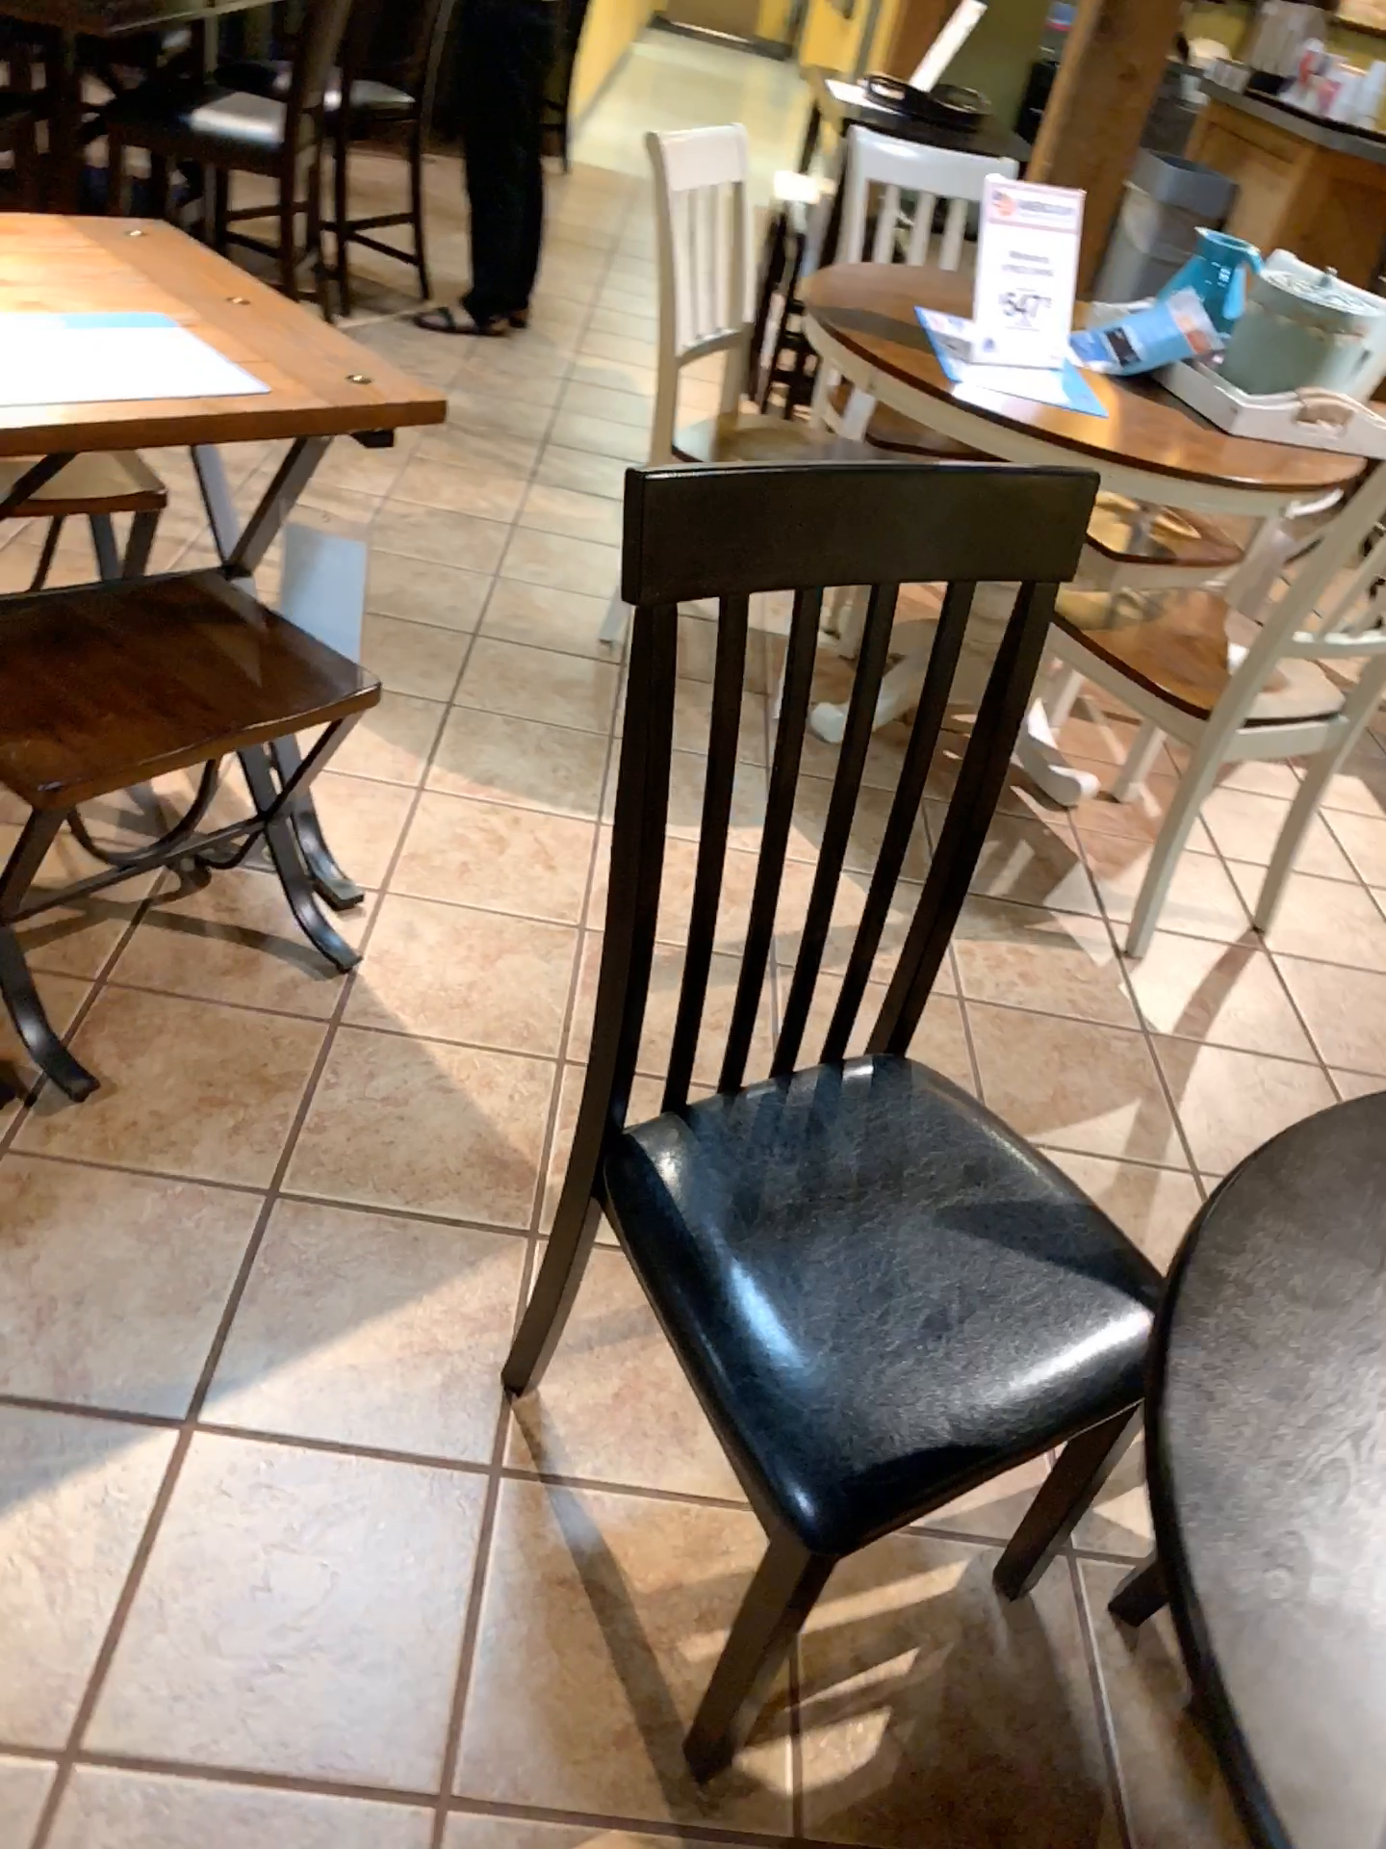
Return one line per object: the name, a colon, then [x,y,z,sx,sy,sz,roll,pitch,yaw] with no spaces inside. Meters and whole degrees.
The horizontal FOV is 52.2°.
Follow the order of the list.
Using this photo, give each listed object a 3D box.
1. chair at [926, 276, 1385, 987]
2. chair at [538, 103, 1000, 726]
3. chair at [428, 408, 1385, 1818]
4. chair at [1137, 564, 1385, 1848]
chair: [0.841,-0.452,2.239,0.465,0.893,0.543,-9,42,-30]
chair: [0.115,-0.935,2.619,0.541,0.903,0.416,24,36,13]
chair: [0.147,0.147,1.161,0.455,0.923,0.563,-11,43,-31]
chair: [0.776,0.273,1.199,0.384,0.933,0.544,23,36,11]
